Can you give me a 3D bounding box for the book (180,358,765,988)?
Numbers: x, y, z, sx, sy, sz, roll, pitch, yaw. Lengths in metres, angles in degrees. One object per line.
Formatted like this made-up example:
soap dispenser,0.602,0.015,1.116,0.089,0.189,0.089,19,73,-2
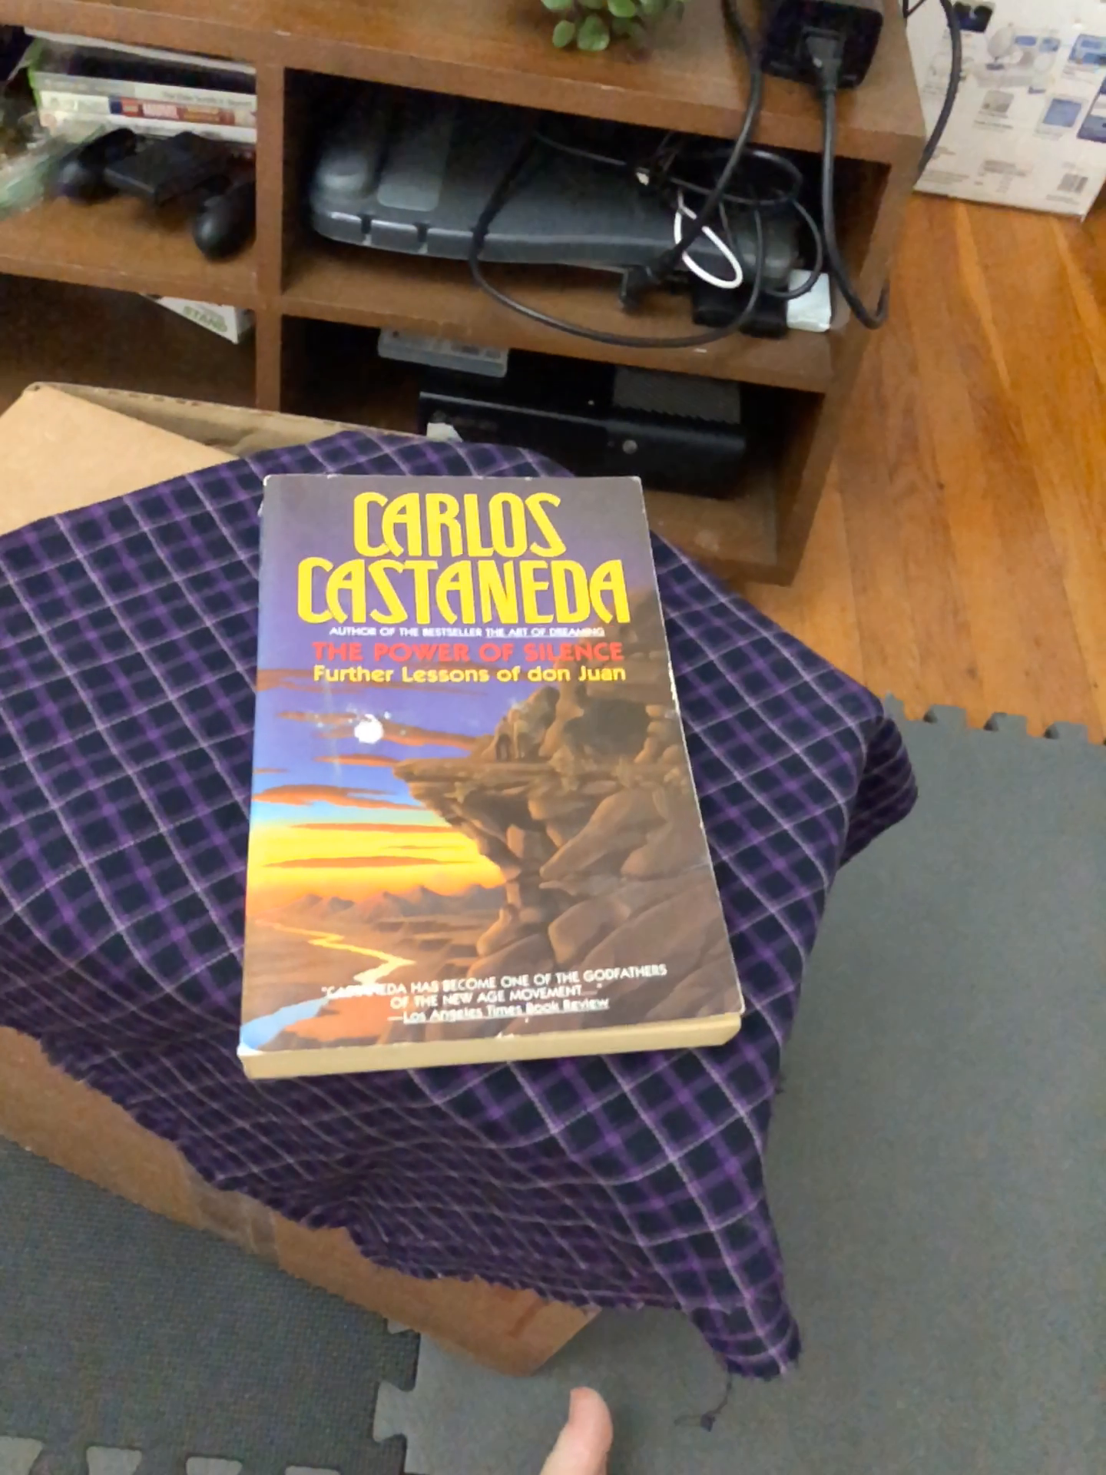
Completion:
book,-0.028,-0.033,0.380,0.150,0.020,0.221,0,57,-8
